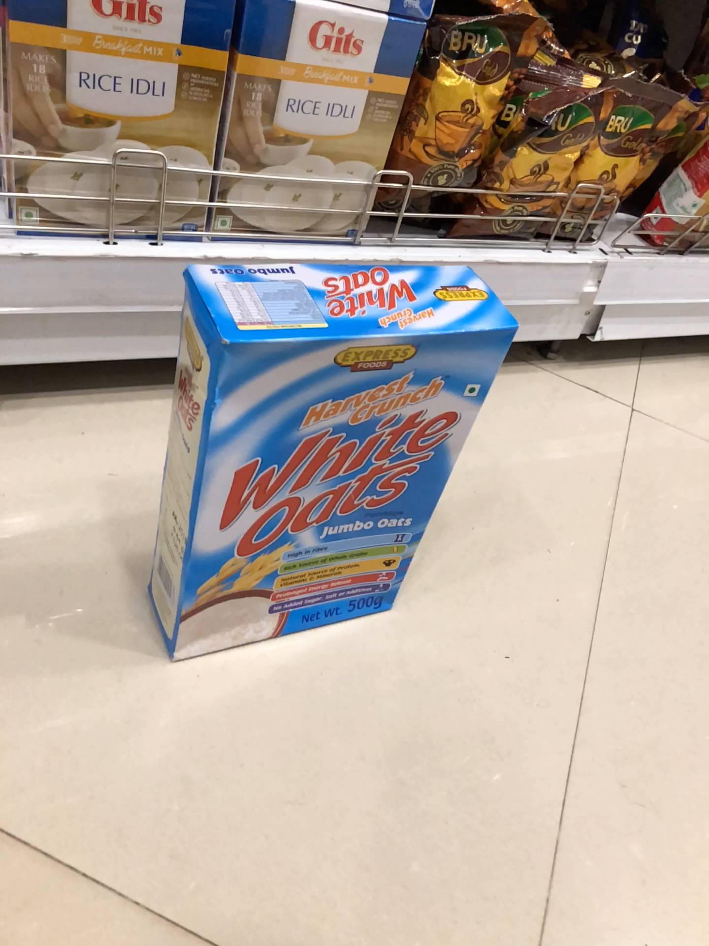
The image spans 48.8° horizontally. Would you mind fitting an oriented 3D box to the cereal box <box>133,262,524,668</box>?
[{"bbox_3d":[-0.027,0.001,0.416,0.151,0.218,0.060,-8,48,-28],"label":"cereal box"}]
